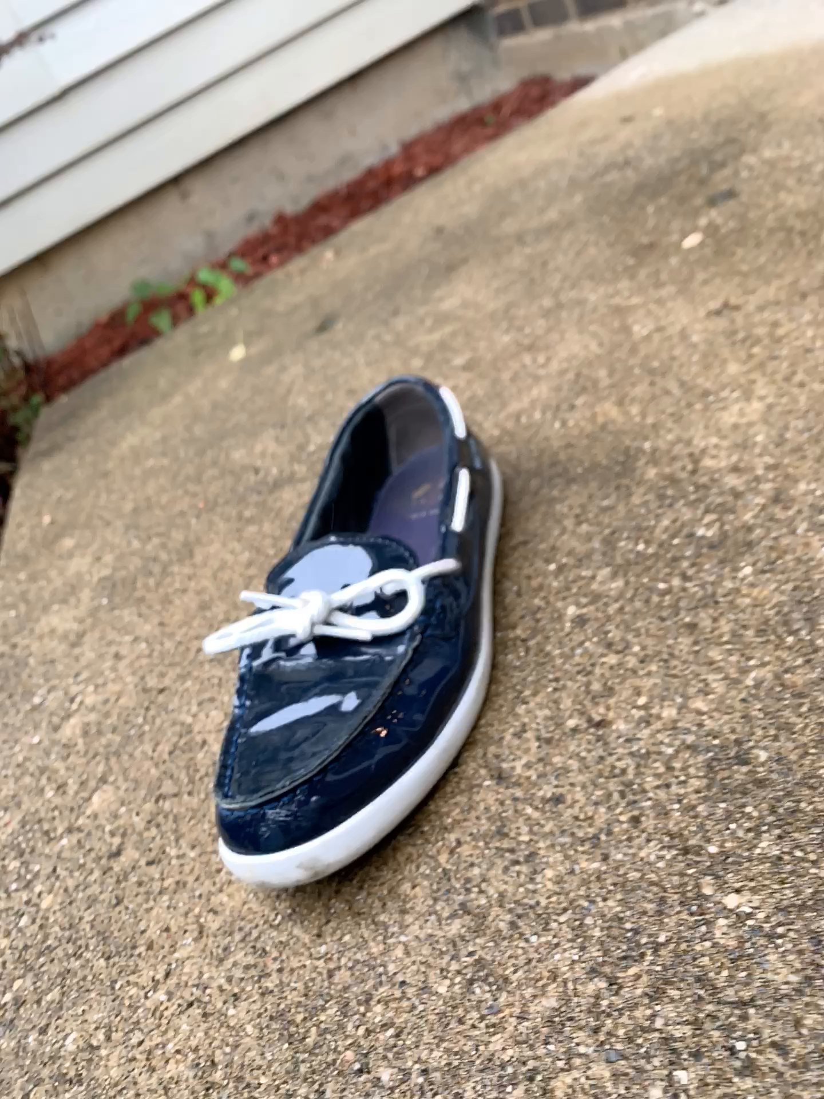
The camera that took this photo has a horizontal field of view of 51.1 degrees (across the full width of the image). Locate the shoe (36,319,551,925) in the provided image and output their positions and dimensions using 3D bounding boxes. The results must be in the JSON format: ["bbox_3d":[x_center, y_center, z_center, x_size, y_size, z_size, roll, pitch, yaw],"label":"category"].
[{"bbox_3d":[-0.023,0.012,0.353,0.101,0.083,0.246,-11,35,28],"label":"shoe"}]
